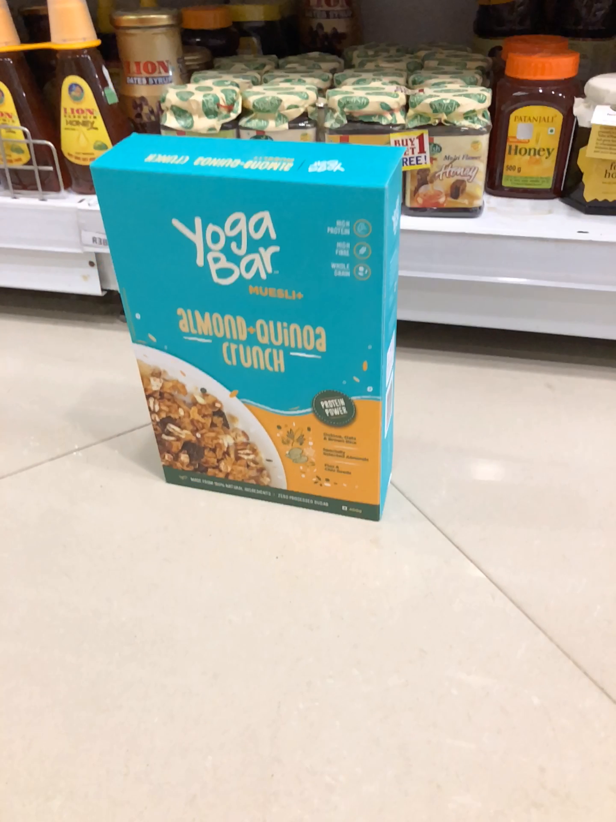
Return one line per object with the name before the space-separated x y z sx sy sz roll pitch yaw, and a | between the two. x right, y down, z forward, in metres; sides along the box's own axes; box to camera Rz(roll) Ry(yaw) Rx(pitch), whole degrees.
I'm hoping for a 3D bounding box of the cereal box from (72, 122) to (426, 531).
cereal box | -0.025 -0.044 0.414 0.170 0.228 0.060 8 38 15
